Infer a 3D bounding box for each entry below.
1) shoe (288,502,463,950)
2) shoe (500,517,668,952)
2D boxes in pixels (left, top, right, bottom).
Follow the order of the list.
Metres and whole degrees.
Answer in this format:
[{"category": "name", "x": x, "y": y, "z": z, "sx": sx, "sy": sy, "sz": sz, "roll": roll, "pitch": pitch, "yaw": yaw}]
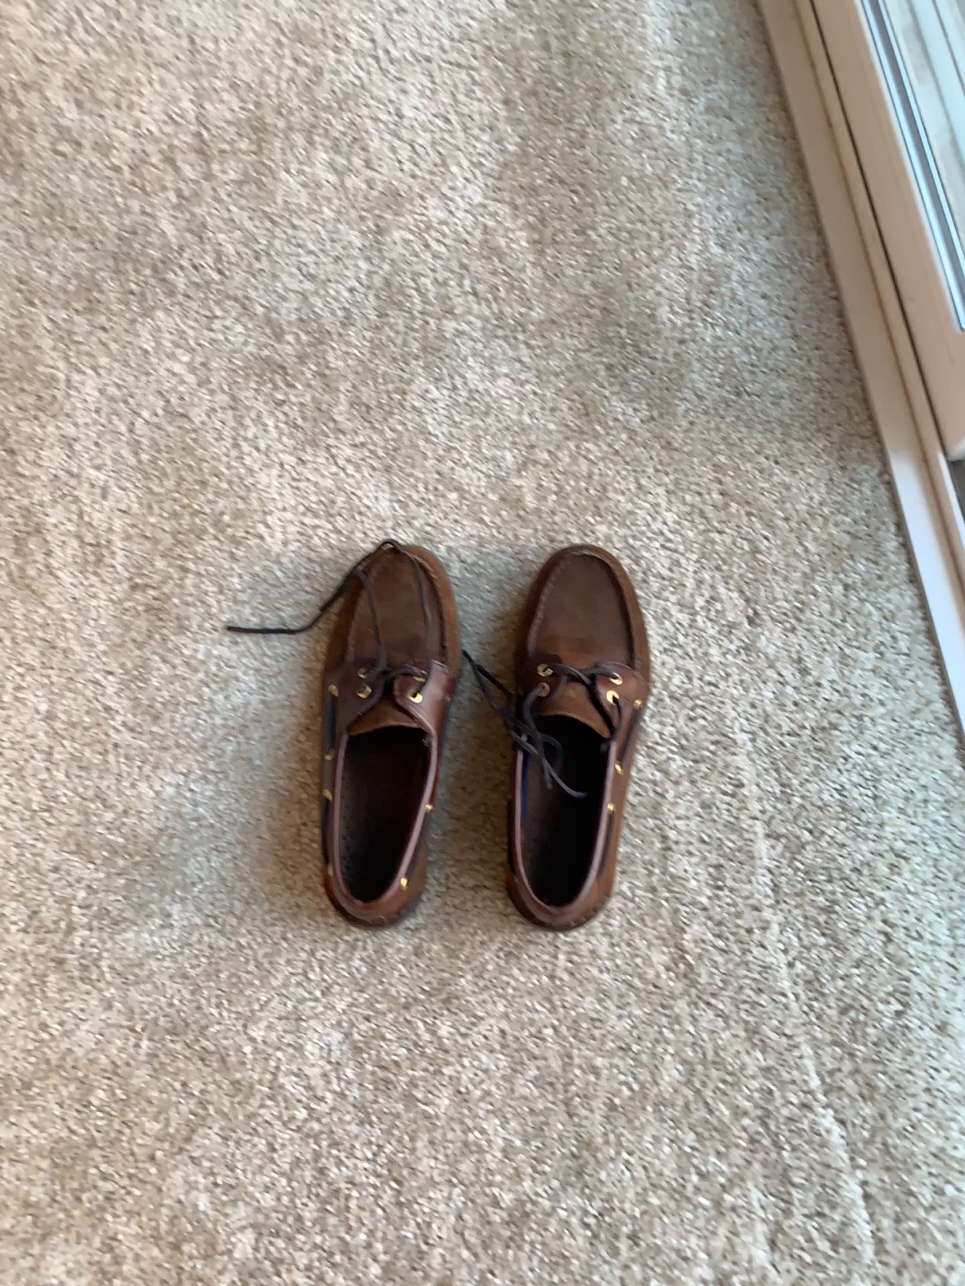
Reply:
[{"category": "shoe", "x": -0.074, "y": 0.062, "z": 0.752, "sx": 0.100, "sy": 0.100, "sz": 0.320, "roll": 2, "pitch": 76, "yaw": 2}, {"category": "shoe", "x": 0.074, "y": 0.067, "z": 0.730, "sx": 0.110, "sy": 0.100, "sz": 0.300, "roll": 2, "pitch": 76, "yaw": 2}]
